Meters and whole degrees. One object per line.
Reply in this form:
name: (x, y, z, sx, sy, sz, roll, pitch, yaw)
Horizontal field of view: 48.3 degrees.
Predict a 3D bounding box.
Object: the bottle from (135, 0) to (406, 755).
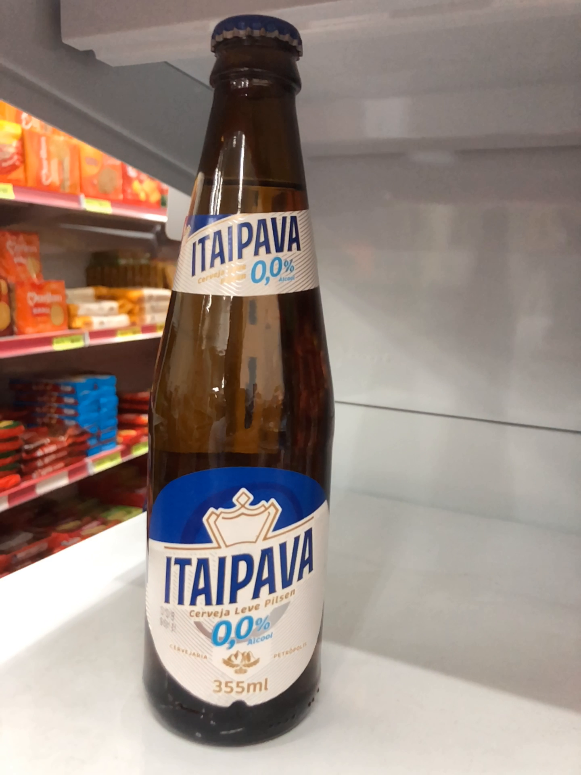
bottle: (-0.009, -0.009, 0.190, 0.060, 0.209, 0.060, 2, 9, 0)
